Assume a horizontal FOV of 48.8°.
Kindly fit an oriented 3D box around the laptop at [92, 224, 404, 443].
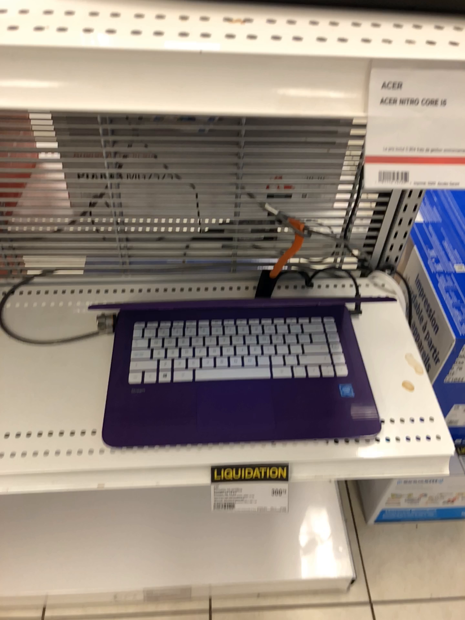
[{"bbox_3d":[0.012,0.023,0.616,0.305,0.138,0.207,-1,49,-3],"label":"laptop"}]
